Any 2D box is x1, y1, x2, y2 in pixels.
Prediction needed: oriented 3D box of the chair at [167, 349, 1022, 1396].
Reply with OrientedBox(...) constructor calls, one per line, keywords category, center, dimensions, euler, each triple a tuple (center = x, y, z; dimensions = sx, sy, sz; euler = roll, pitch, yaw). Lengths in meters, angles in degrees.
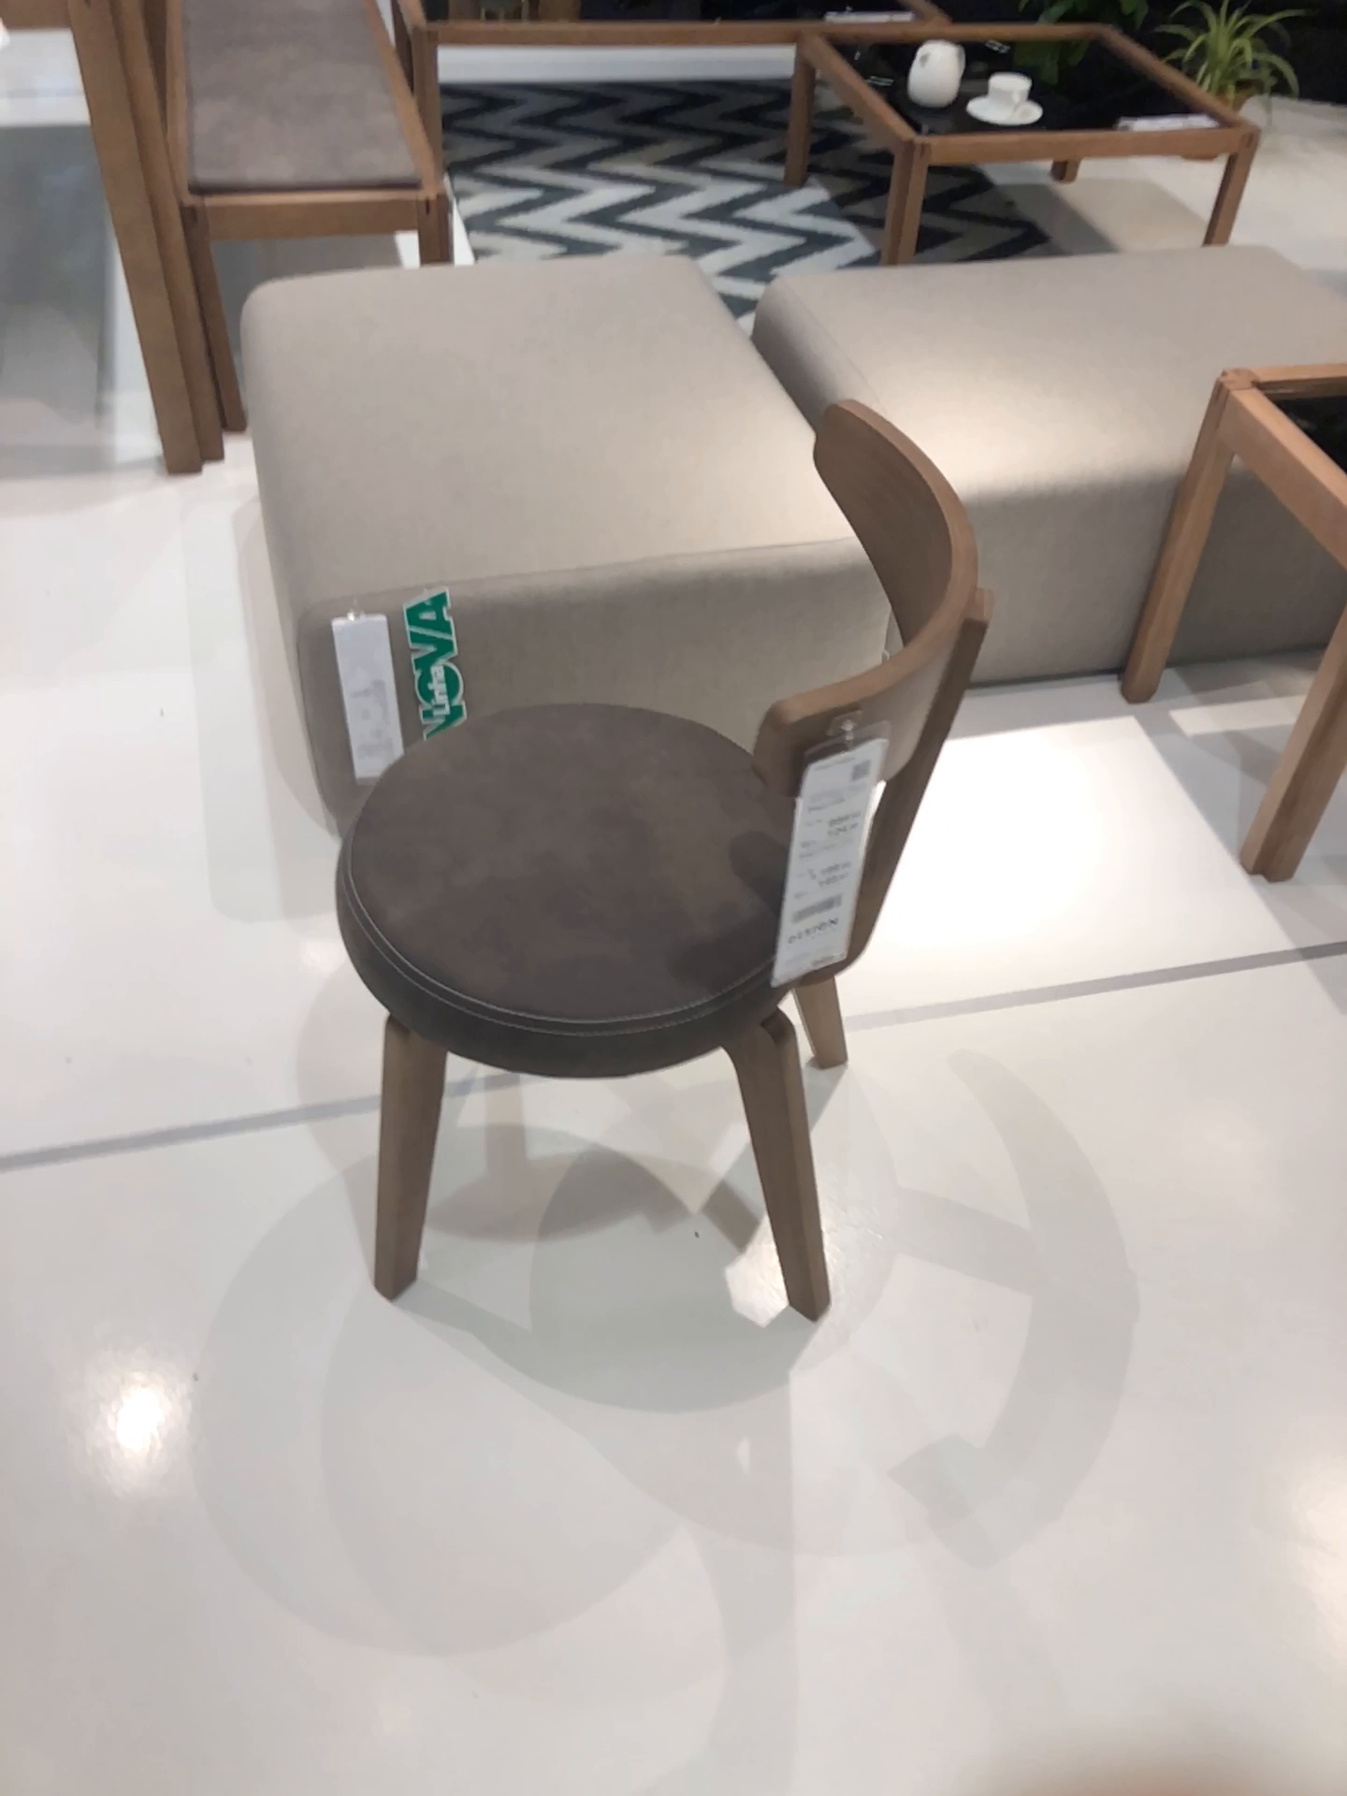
OrientedBox(category="chair", center=(-0.027, -0.008, 1.309), dimensions=(0.520, 0.705, 0.504), euler=(9, 44, 6))
